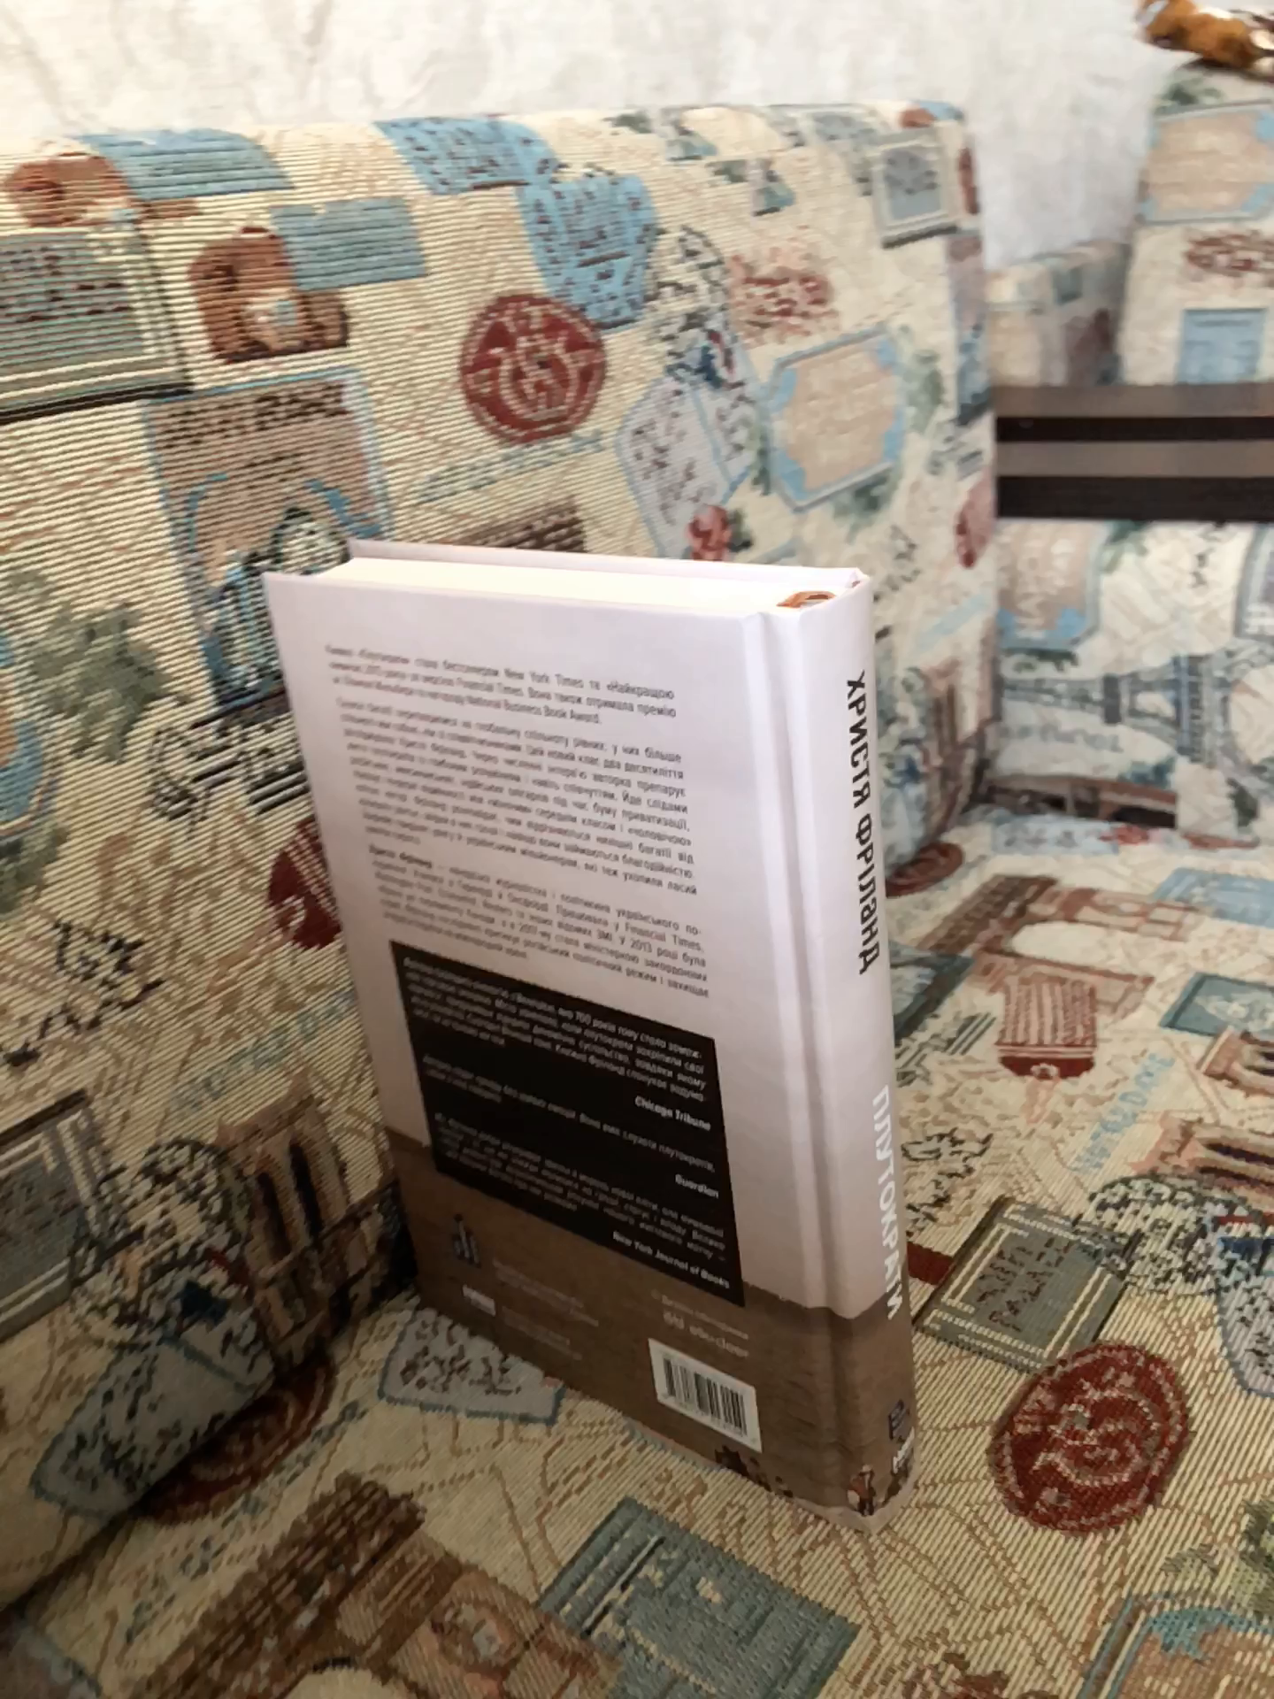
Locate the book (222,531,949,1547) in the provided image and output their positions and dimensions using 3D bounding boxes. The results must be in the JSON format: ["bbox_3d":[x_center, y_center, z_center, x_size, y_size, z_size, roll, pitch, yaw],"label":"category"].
[{"bbox_3d":[-0.011,0.038,0.334,0.157,0.215,0.037,11,29,37],"label":"book"}]
